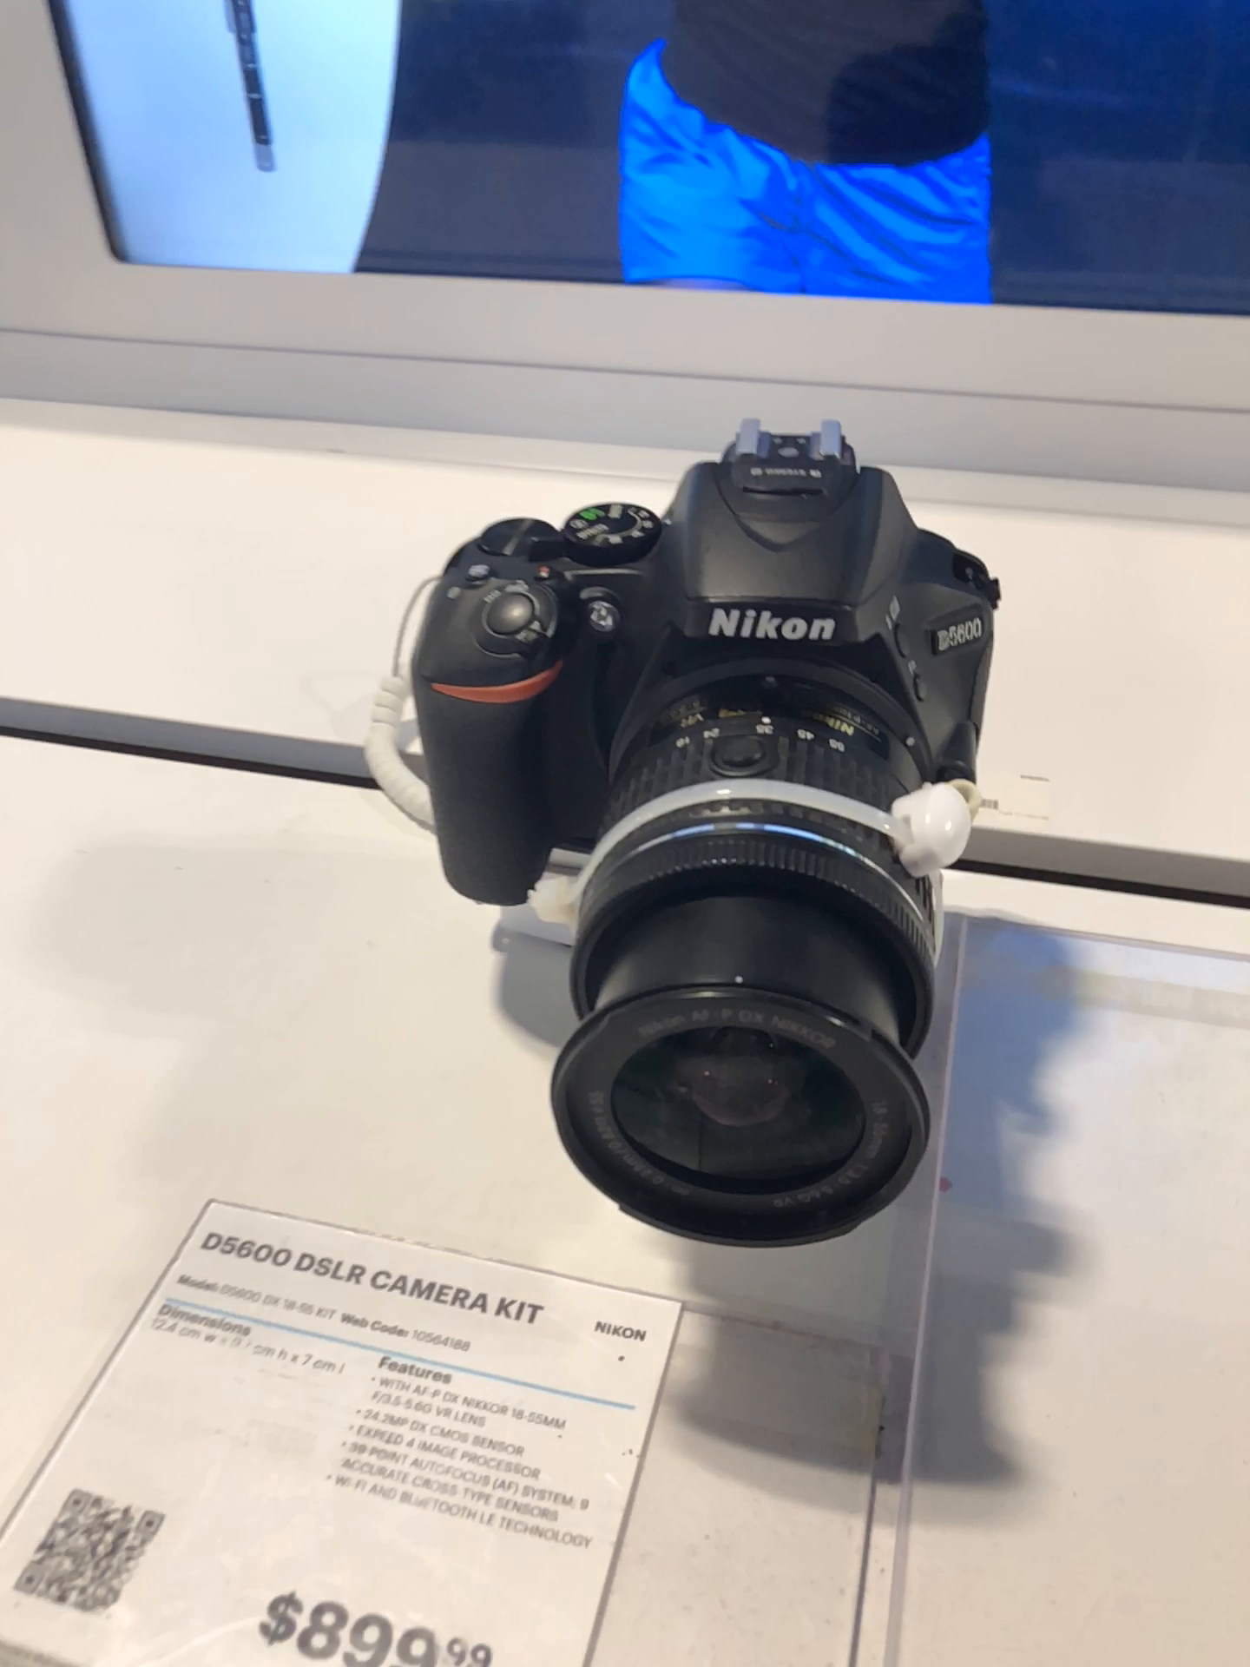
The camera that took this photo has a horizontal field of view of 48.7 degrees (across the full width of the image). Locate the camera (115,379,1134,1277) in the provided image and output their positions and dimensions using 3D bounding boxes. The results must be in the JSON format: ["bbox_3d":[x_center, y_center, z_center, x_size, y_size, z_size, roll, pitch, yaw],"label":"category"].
[{"bbox_3d":[0.009,-0.015,0.260,0.130,0.089,0.151,3,37,8],"label":"camera"}]
